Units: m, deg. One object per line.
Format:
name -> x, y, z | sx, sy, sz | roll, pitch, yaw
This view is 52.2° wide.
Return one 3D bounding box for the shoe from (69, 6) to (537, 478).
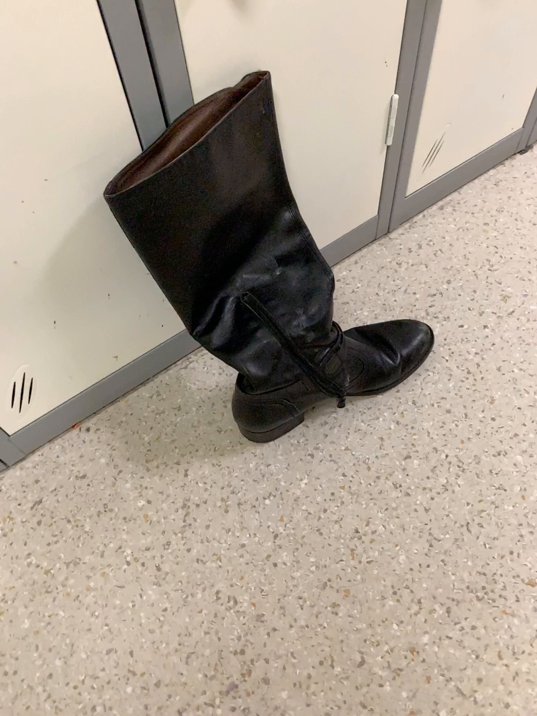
shoe -> 0.040, -0.088, 0.538 | 0.314, 0.331, 0.168 | -26, 57, -11
